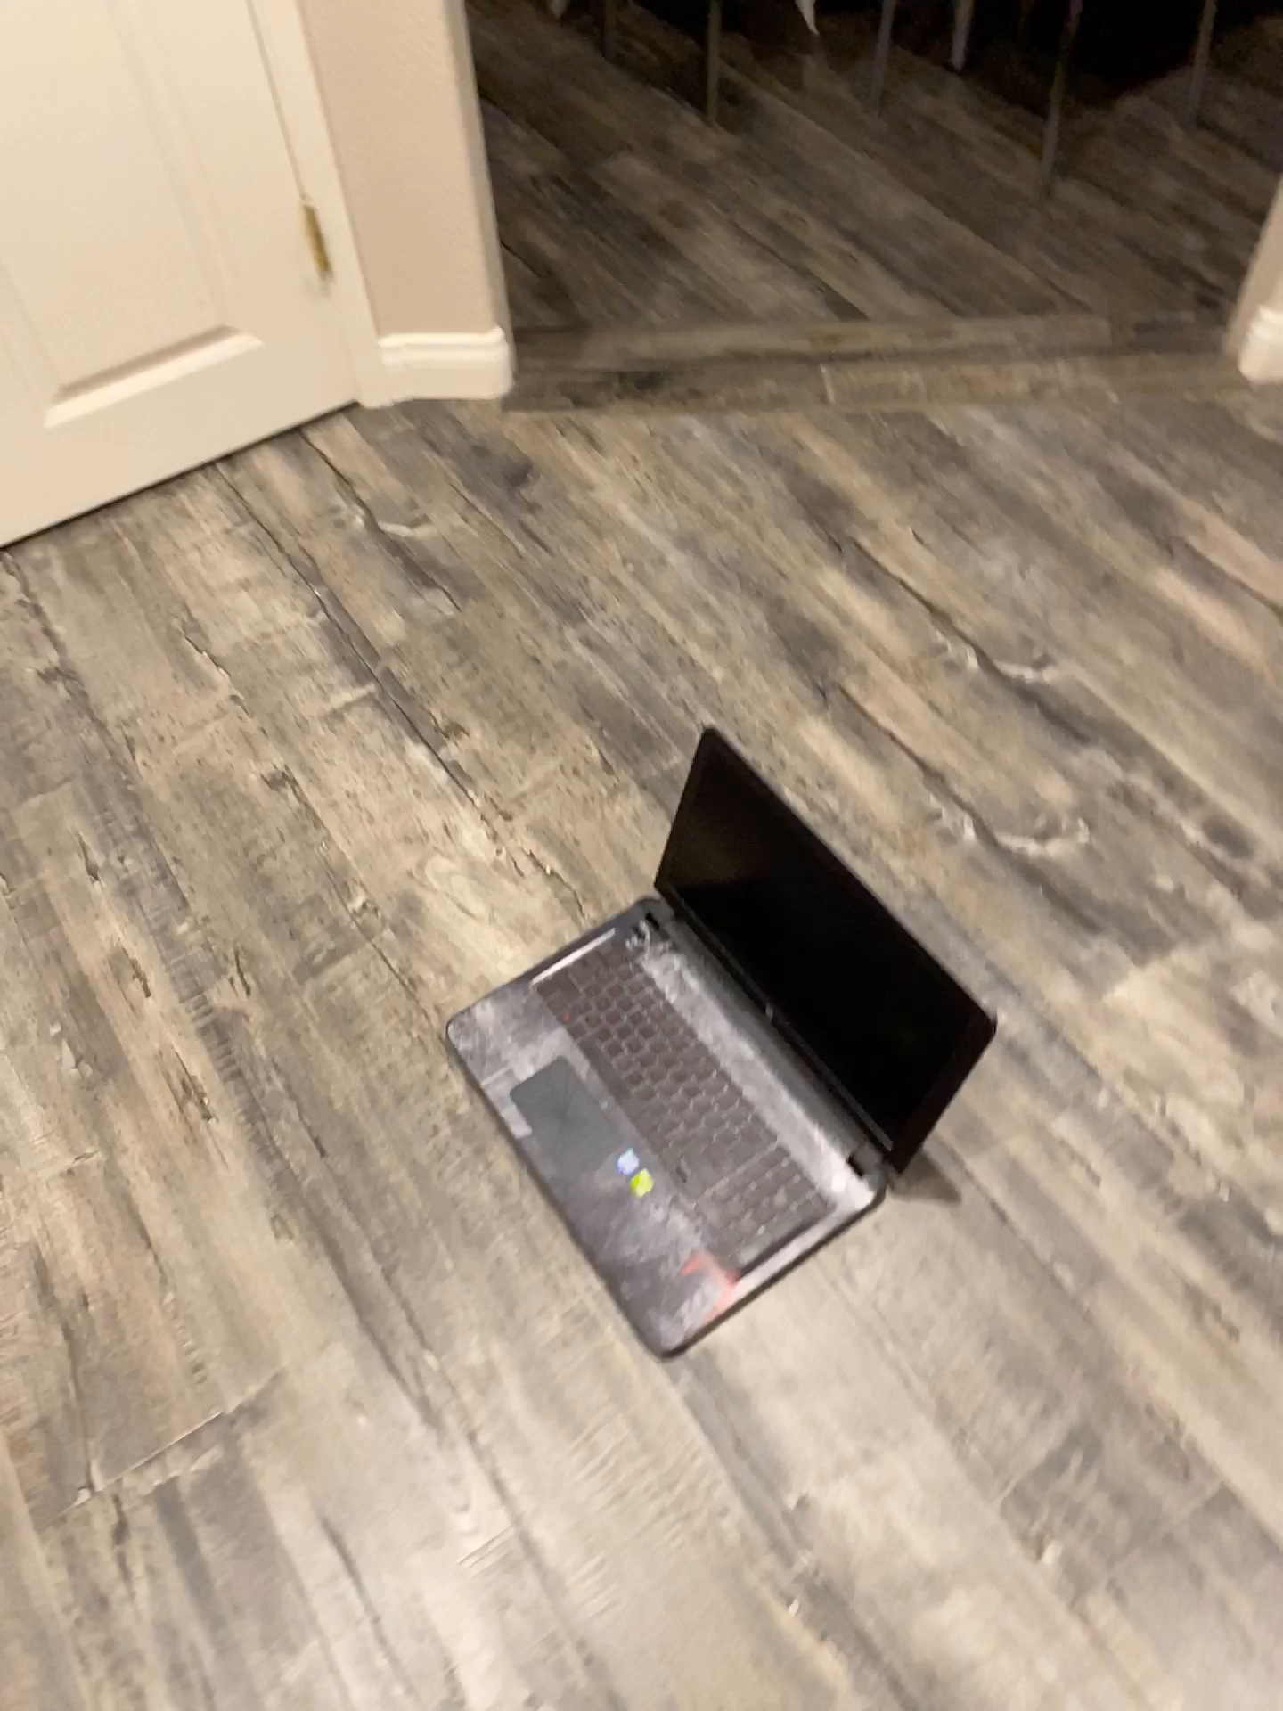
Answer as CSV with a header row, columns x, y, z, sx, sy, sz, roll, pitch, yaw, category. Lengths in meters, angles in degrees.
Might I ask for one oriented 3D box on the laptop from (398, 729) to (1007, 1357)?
x,y,z,sx,sy,sz,roll,pitch,yaw,category
0.044,0.153,1.141,0.327,0.225,0.372,-31,59,-17,laptop
